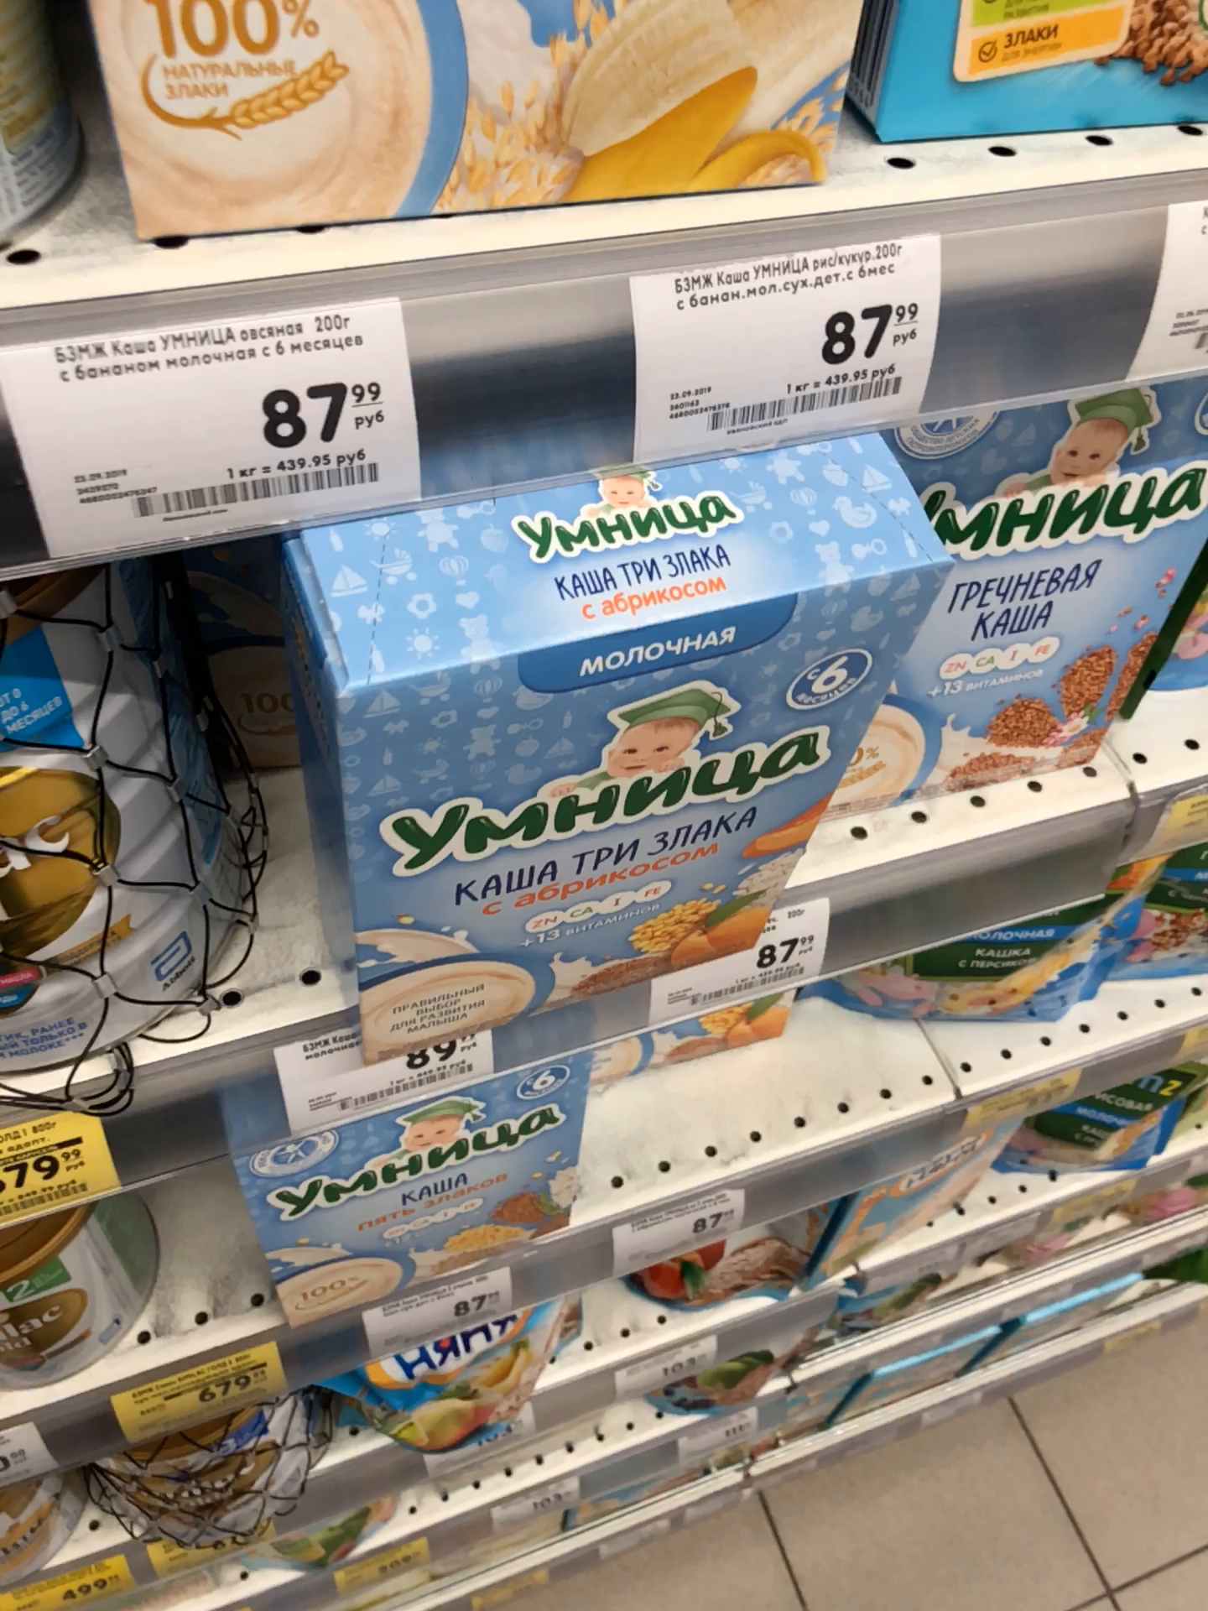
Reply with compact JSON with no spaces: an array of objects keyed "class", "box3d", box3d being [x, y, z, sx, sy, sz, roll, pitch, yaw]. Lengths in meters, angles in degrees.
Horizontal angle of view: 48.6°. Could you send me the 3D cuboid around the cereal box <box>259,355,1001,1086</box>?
[{"class":"cereal box","box3d":[-0.007,-0.008,0.359,0.140,0.209,0.060,-14,62,-17]}]
